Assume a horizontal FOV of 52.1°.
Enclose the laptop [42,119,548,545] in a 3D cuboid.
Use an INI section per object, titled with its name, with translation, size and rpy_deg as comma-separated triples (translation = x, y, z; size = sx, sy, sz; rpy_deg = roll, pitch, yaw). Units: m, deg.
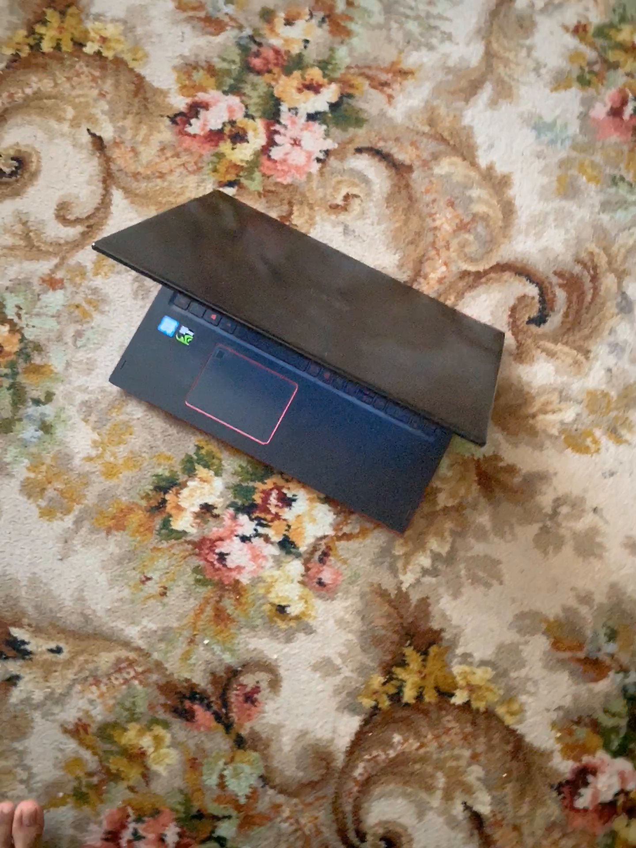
[laptop]
translation = -0.020, -0.073, 0.627
size = 0.356, 0.173, 0.224
rpy_deg = 27, 86, 3
